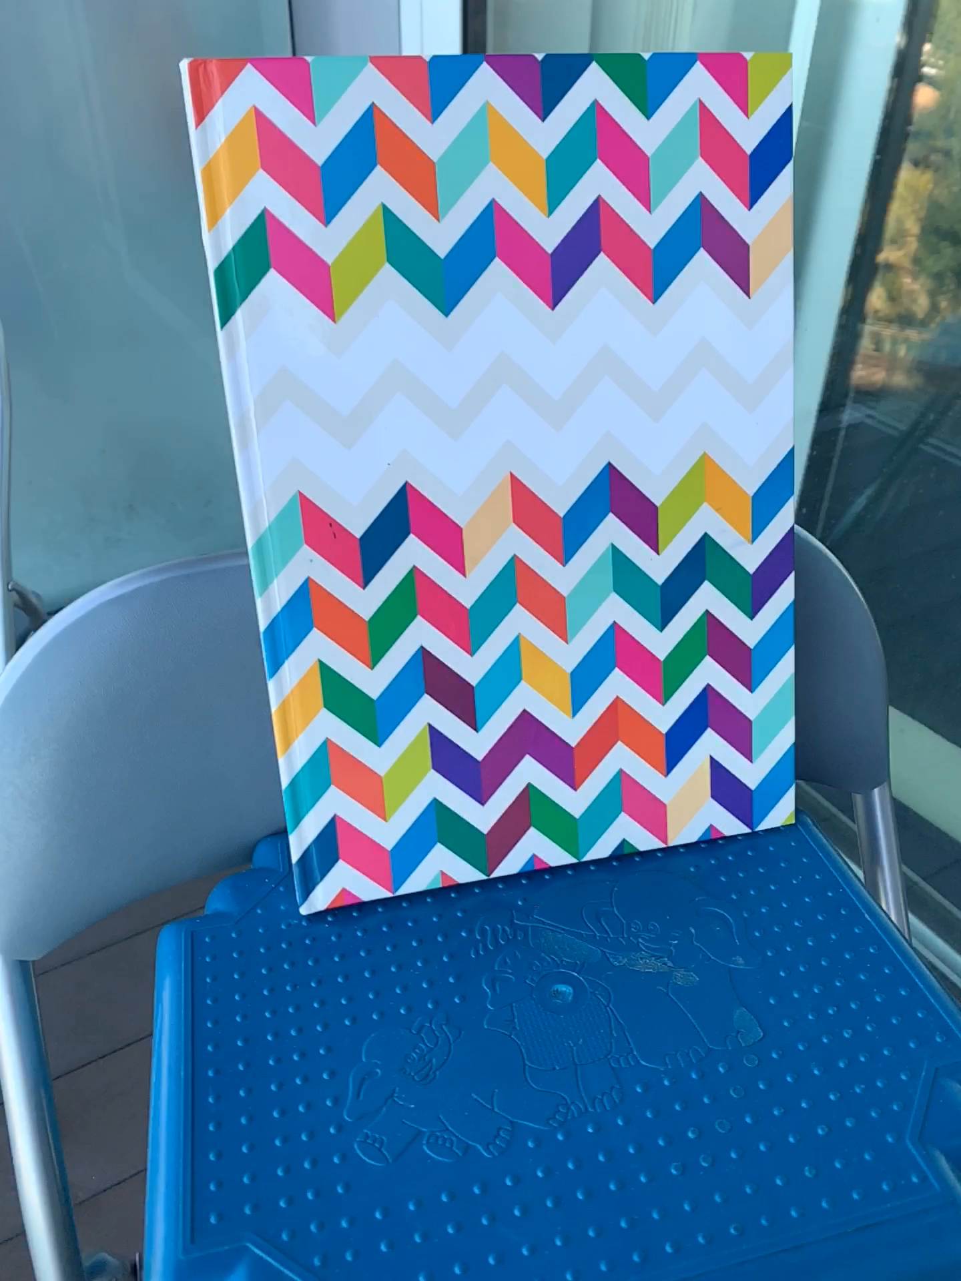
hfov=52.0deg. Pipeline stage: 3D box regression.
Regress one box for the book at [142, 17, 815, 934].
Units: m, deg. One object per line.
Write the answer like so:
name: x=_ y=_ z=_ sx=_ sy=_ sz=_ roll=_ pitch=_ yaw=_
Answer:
book: x=0.014 y=-0.054 z=0.351 sx=0.211 sy=0.289 sz=0.030 roll=-8 pitch=14 yaw=-12
